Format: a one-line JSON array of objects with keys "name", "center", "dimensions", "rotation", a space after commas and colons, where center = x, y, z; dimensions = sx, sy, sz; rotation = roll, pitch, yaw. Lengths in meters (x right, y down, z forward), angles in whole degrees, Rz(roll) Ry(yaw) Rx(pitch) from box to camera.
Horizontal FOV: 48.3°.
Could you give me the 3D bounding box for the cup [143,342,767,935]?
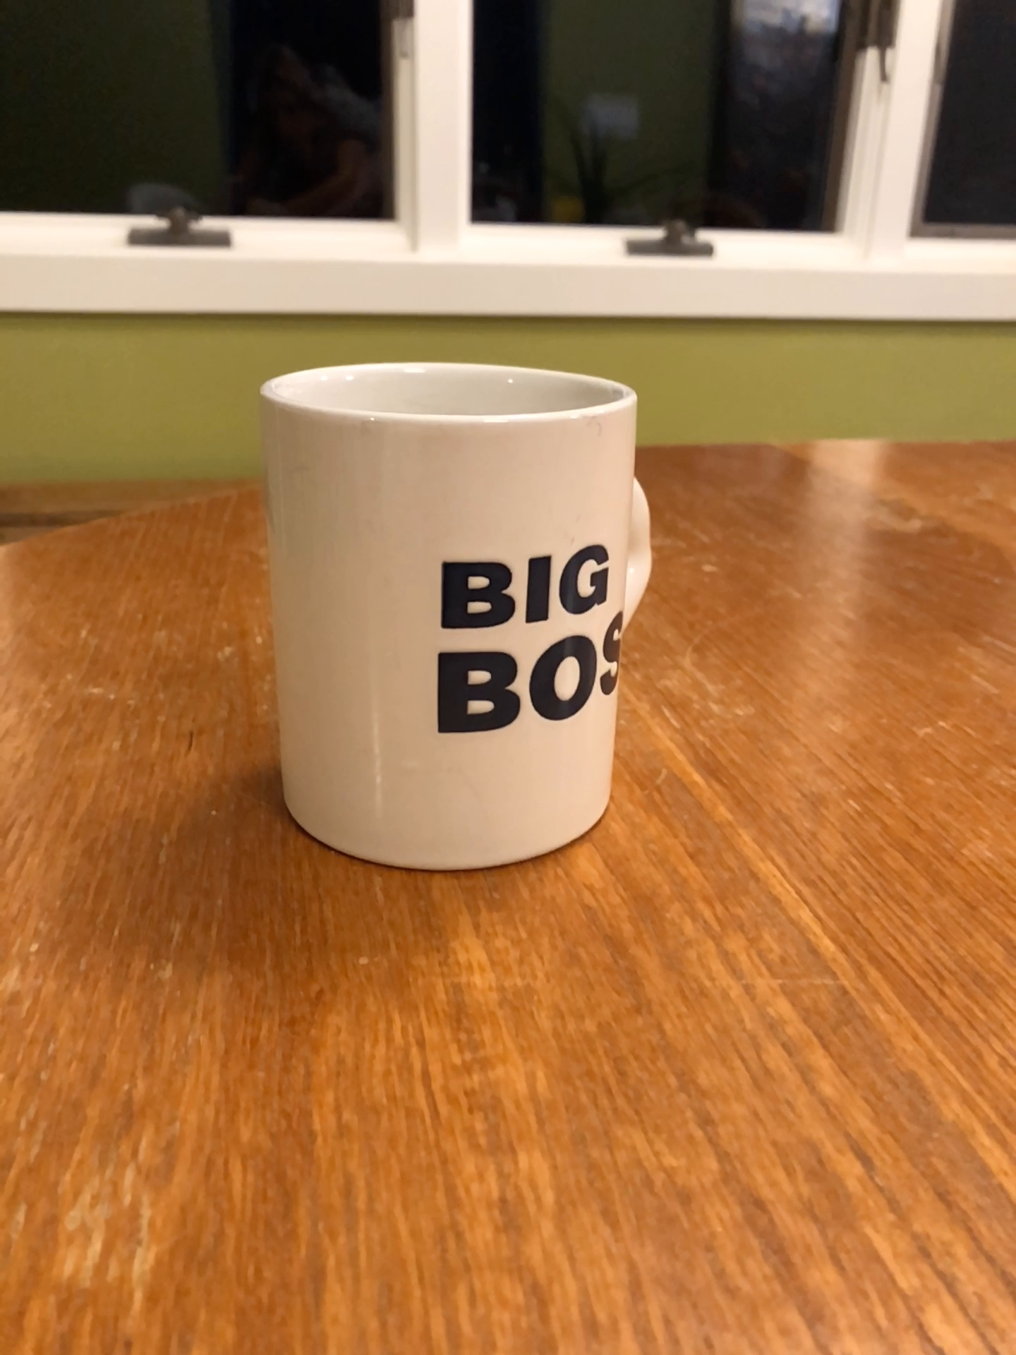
[{"name": "cup", "center": [-0.004, -0.025, 0.288], "dimensions": [0.087, 0.100, 0.139], "rotation": [14, 25, 28]}]
